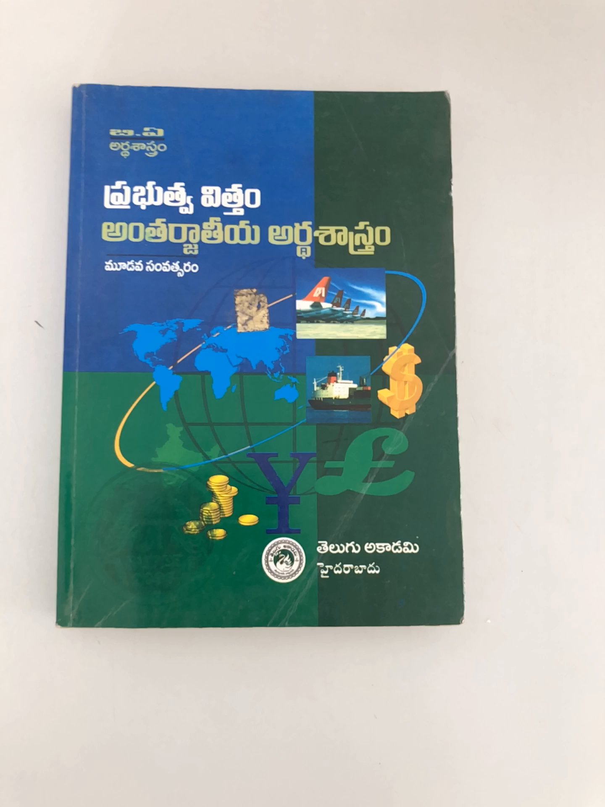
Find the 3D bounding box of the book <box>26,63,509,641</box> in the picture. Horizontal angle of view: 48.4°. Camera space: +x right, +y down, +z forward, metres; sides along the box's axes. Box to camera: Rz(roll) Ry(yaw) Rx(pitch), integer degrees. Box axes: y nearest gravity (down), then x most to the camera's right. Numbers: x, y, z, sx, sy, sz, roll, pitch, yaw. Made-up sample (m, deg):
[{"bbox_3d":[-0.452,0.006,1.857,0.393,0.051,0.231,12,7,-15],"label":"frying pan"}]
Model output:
[{"bbox_3d":[-0.015,-0.025,0.304,0.190,0.050,0.240,0,83,-3],"label":"book"}]
